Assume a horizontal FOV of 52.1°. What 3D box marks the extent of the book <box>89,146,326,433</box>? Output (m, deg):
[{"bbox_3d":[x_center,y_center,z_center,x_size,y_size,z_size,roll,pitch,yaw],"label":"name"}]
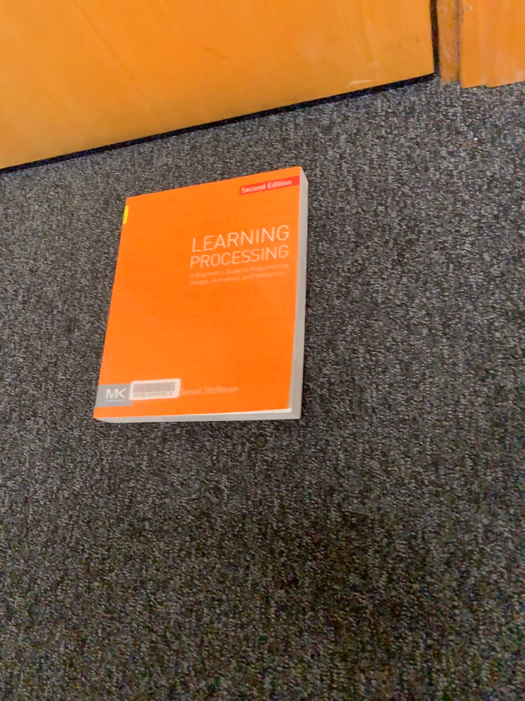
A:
[{"bbox_3d":[-0.047,-0.056,0.516,0.210,0.040,0.261,-4,70,19],"label":"book"}]
